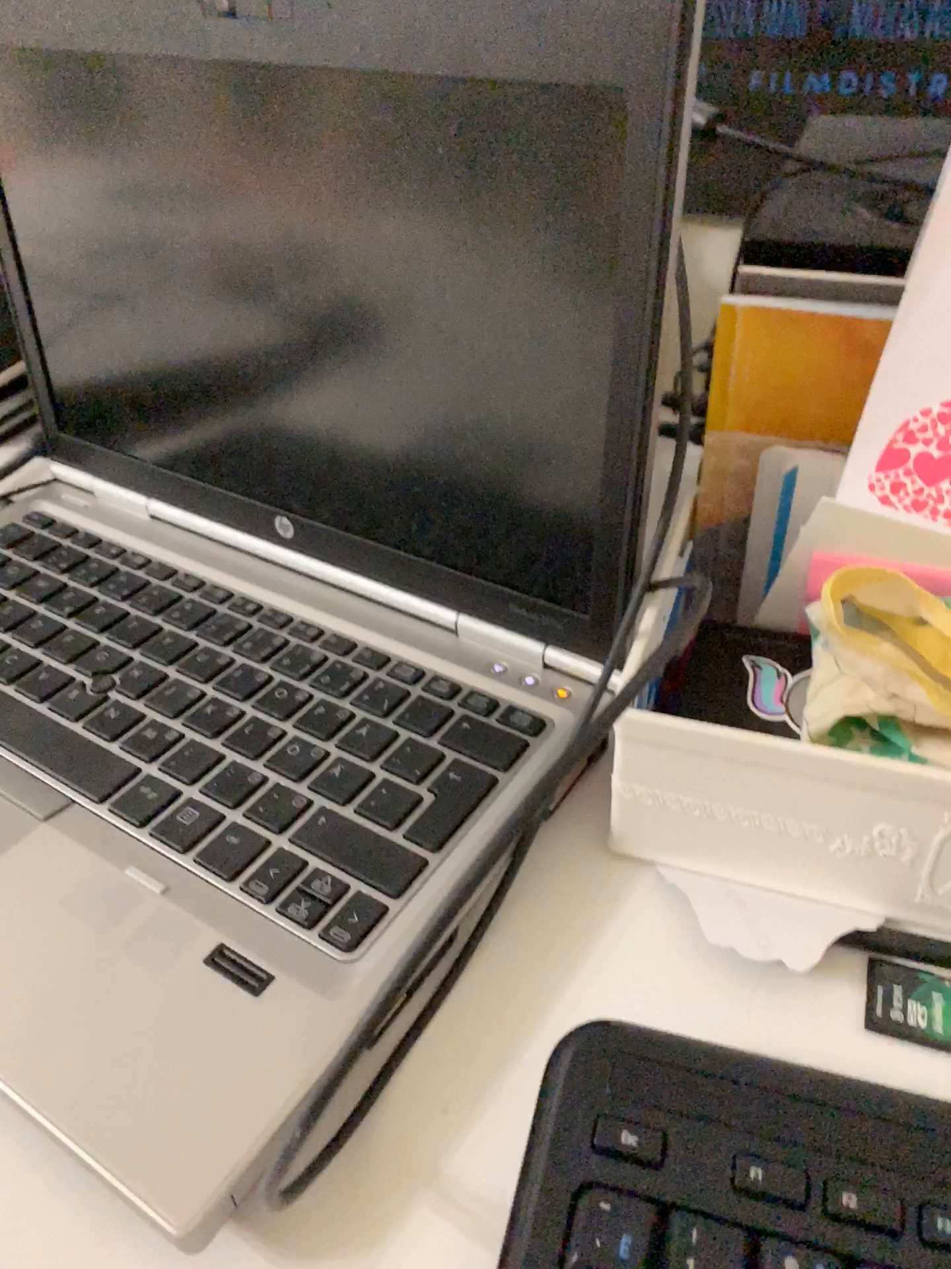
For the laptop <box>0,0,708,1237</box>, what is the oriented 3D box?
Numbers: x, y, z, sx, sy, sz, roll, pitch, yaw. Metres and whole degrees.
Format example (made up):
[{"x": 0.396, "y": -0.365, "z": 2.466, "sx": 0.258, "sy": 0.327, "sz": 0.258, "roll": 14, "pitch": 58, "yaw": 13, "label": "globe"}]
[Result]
[{"x": -0.129, "y": -0.064, "z": 0.293, "sx": 0.303, "sy": 0.205, "sz": 0.225, "roll": 21, "pitch": 43, "yaw": 28, "label": "laptop"}]
